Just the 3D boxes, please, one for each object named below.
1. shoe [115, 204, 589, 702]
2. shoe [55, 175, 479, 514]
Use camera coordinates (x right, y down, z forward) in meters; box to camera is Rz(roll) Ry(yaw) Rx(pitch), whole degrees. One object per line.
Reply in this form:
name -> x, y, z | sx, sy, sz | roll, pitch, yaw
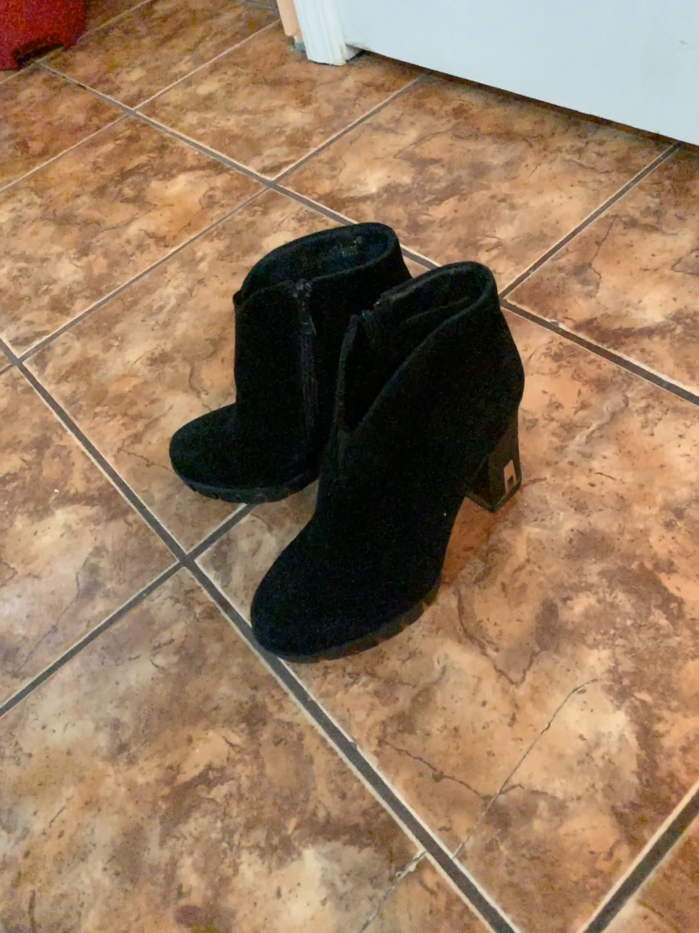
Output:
shoe -> 0.020, -0.003, 0.421 | 0.229, 0.180, 0.094 | -37, 53, -14
shoe -> -0.038, -0.069, 0.488 | 0.229, 0.180, 0.094 | -7, 52, 10
